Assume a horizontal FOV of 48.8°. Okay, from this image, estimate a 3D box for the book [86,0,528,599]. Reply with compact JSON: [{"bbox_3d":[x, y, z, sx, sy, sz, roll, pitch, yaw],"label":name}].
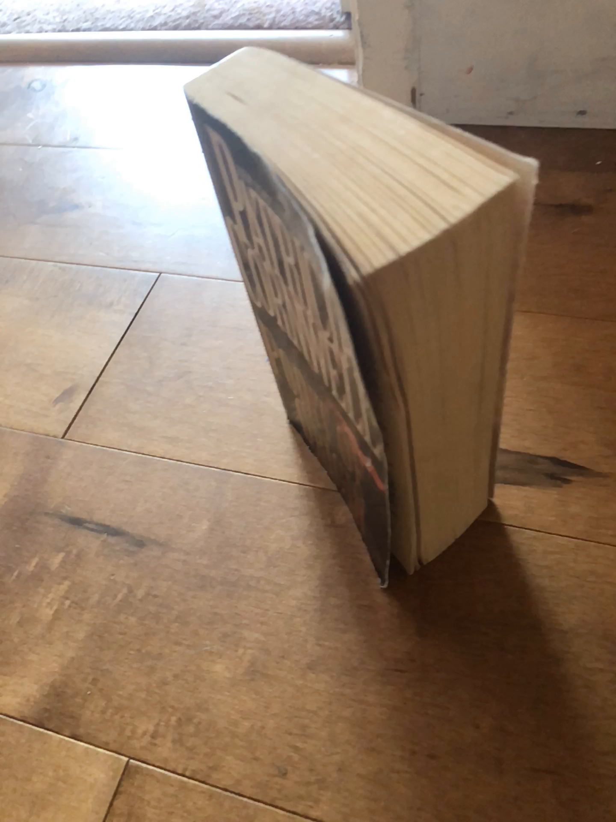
[{"bbox_3d":[0.004,-0.030,0.231,0.050,0.159,0.131,-32,54,-11],"label":"book"}]
